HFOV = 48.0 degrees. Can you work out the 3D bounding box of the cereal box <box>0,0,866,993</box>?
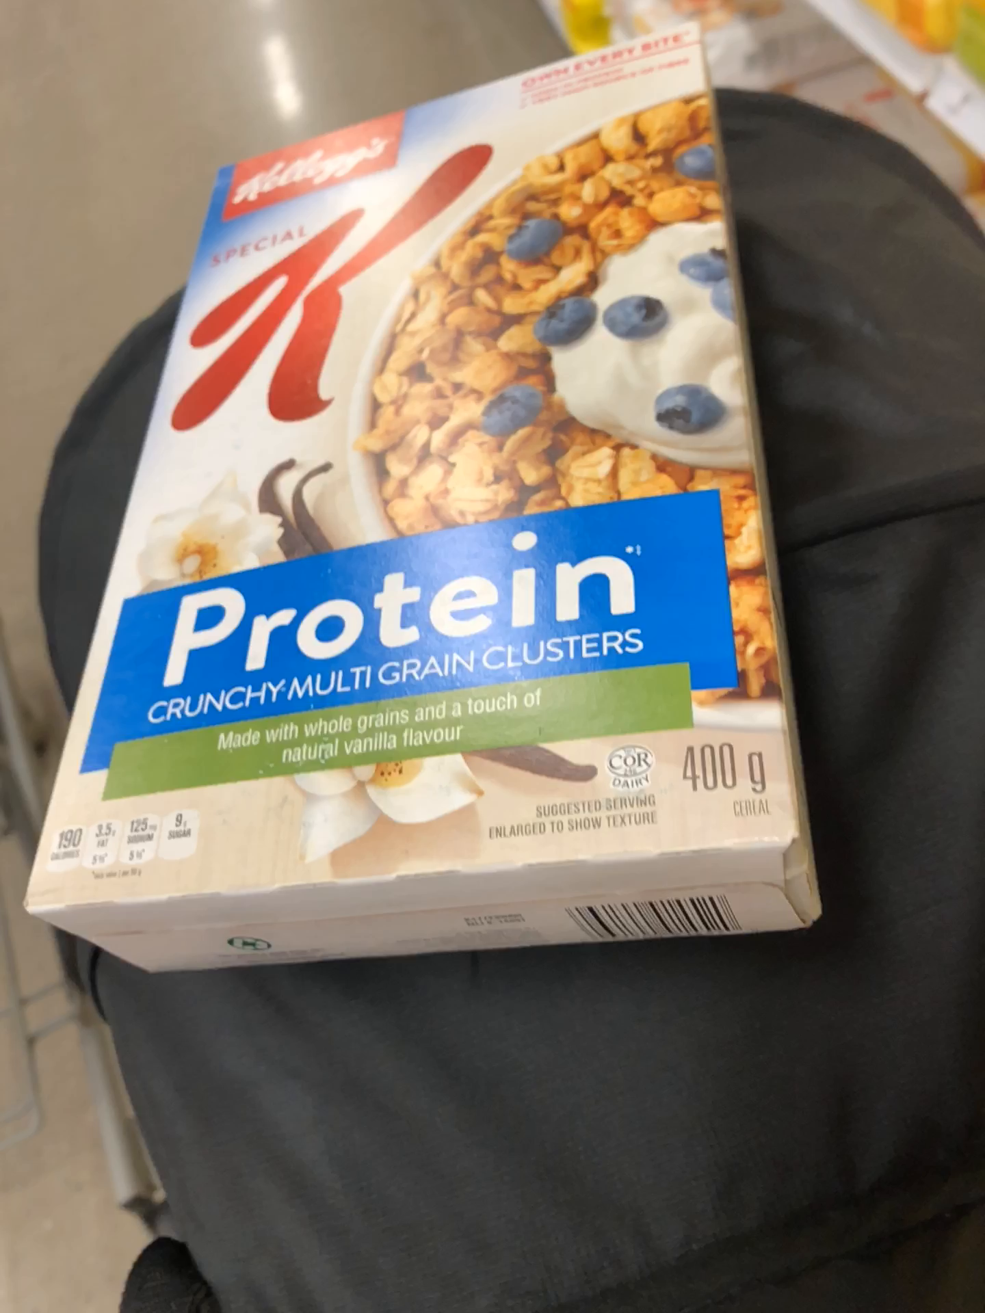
[{"bbox_3d":[-0.020,-0.057,0.296,0.190,0.050,0.270,-9,55,18],"label":"cereal box"}]
